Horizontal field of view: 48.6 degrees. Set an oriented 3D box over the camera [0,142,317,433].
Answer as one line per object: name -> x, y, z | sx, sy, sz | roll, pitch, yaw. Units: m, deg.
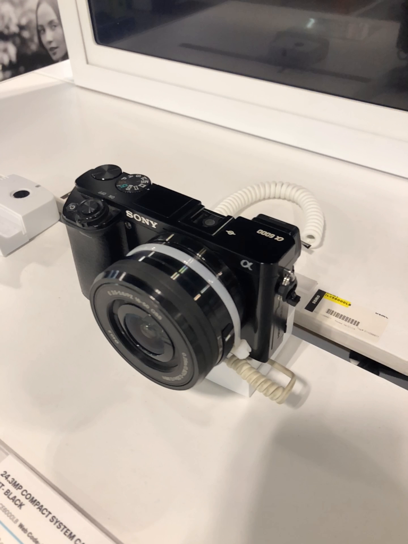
camera -> -0.022, -0.001, 0.213 | 0.120, 0.070, 0.070 | 24, 47, 26
